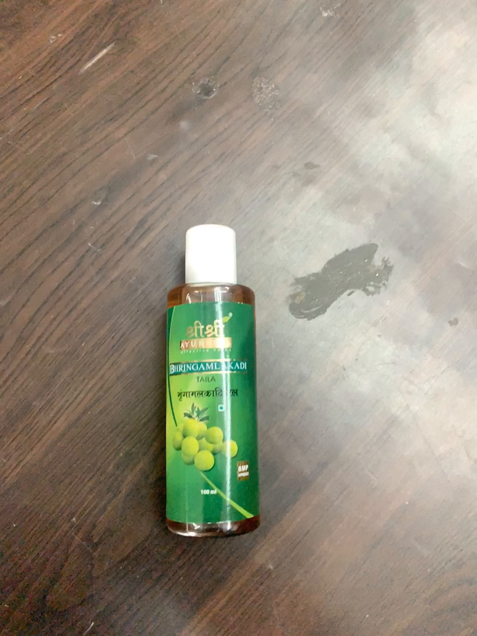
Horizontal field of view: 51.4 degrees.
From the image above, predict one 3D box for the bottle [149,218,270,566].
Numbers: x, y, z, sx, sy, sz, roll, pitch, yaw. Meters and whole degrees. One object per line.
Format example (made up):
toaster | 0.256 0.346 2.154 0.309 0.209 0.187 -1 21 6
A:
bottle | -0.010 0.026 0.194 0.040 0.040 0.120 -1 80 1
